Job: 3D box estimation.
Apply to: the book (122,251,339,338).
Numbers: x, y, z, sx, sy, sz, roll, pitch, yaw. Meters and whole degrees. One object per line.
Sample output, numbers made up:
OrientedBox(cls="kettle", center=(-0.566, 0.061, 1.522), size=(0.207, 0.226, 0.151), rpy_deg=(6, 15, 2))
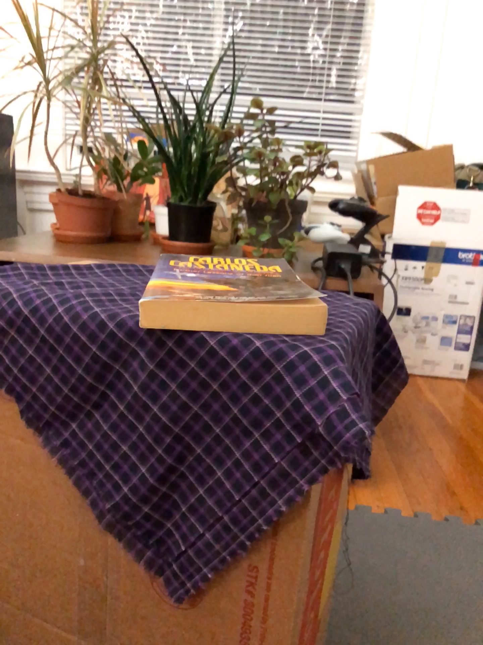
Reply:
OrientedBox(cls="book", center=(-0.014, -0.033, 0.477), size=(0.150, 0.020, 0.221), rpy_deg=(2, 16, -4))
